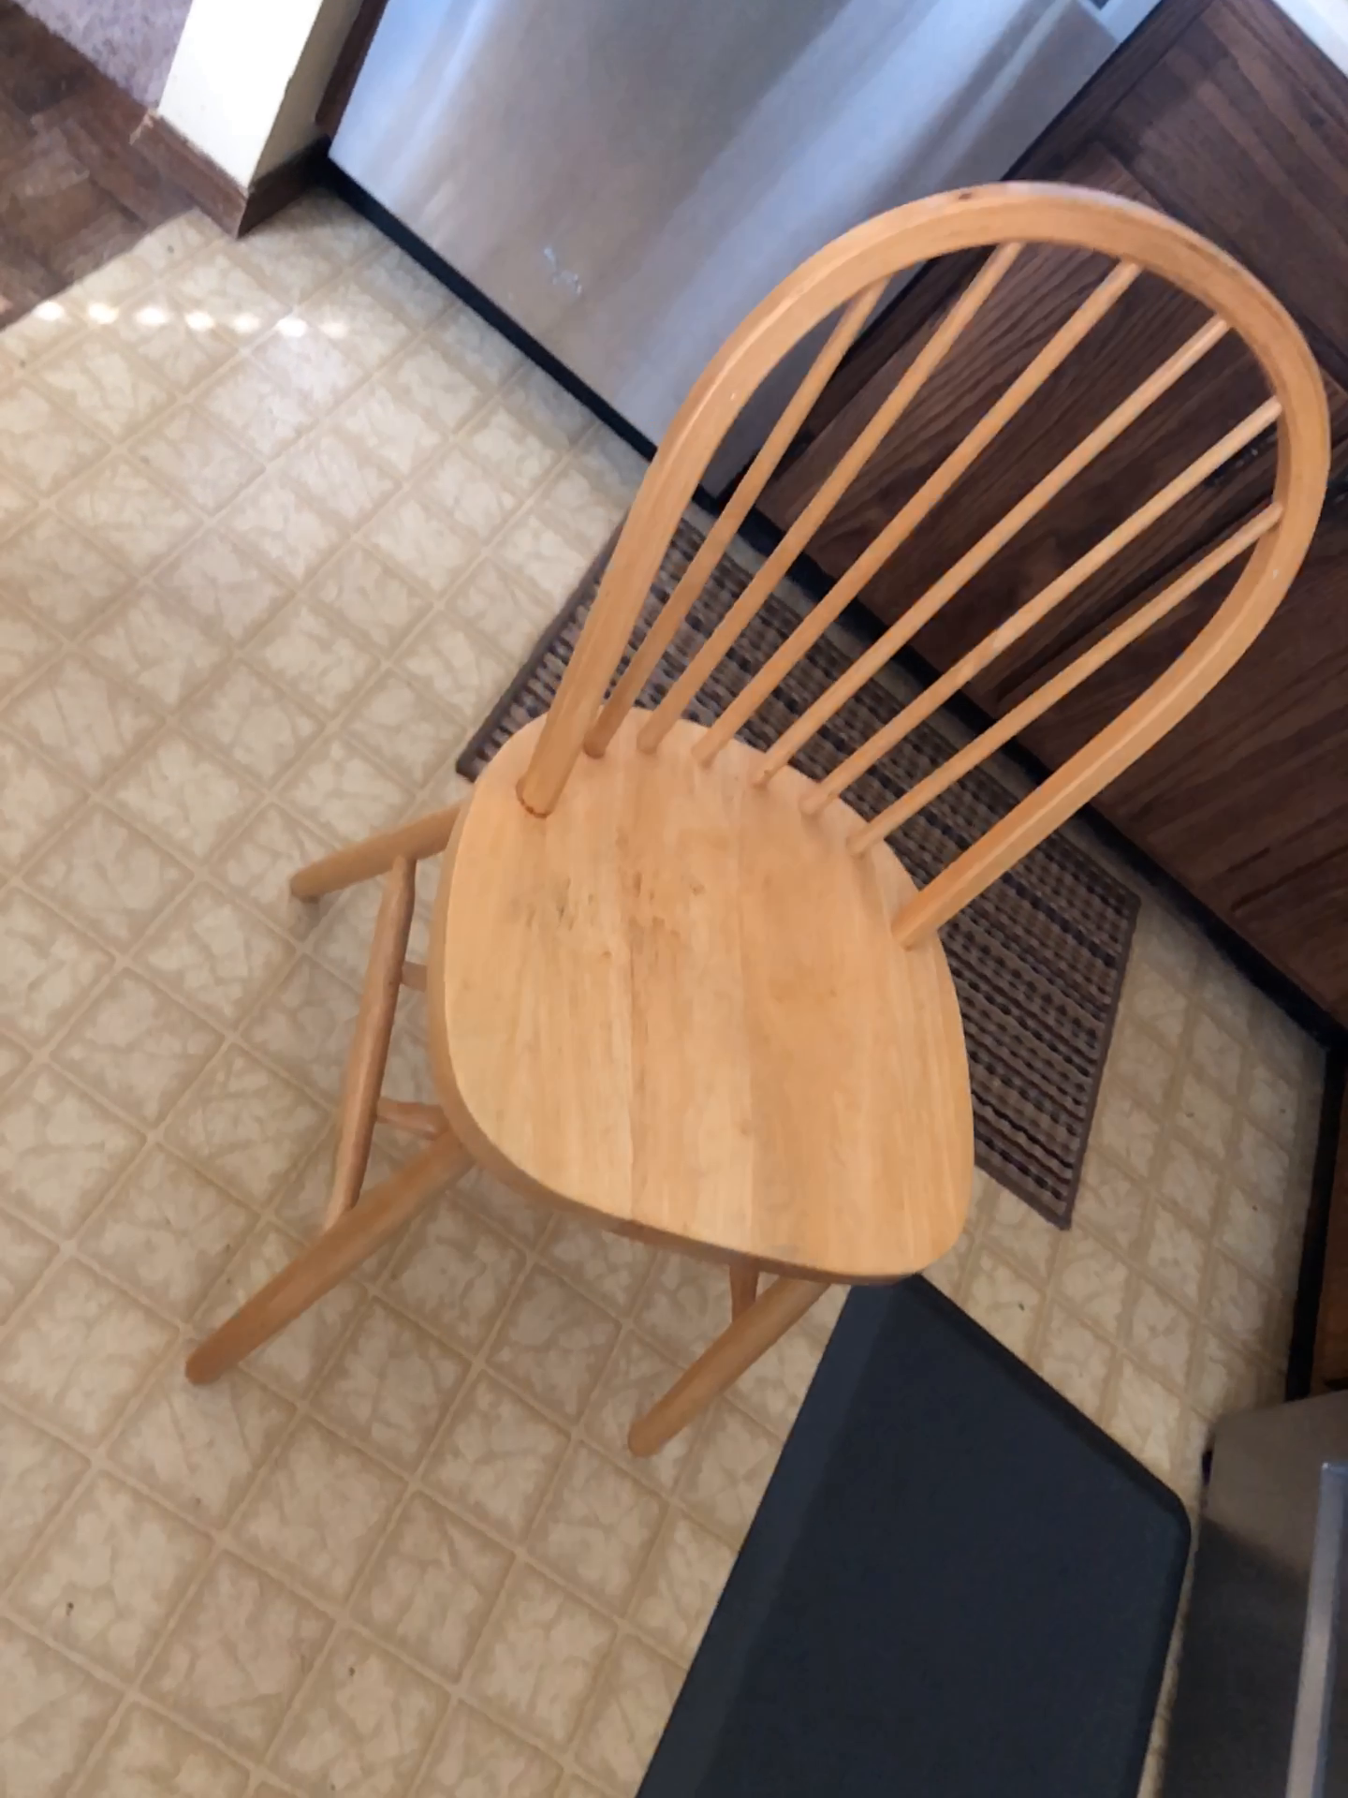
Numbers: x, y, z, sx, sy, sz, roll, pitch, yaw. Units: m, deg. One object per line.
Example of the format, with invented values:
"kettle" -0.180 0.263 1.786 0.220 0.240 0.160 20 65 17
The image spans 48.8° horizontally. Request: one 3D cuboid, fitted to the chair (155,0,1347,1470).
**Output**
"chair" 0.055 0.002 1.019 0.461 0.897 0.560 19 55 -26
